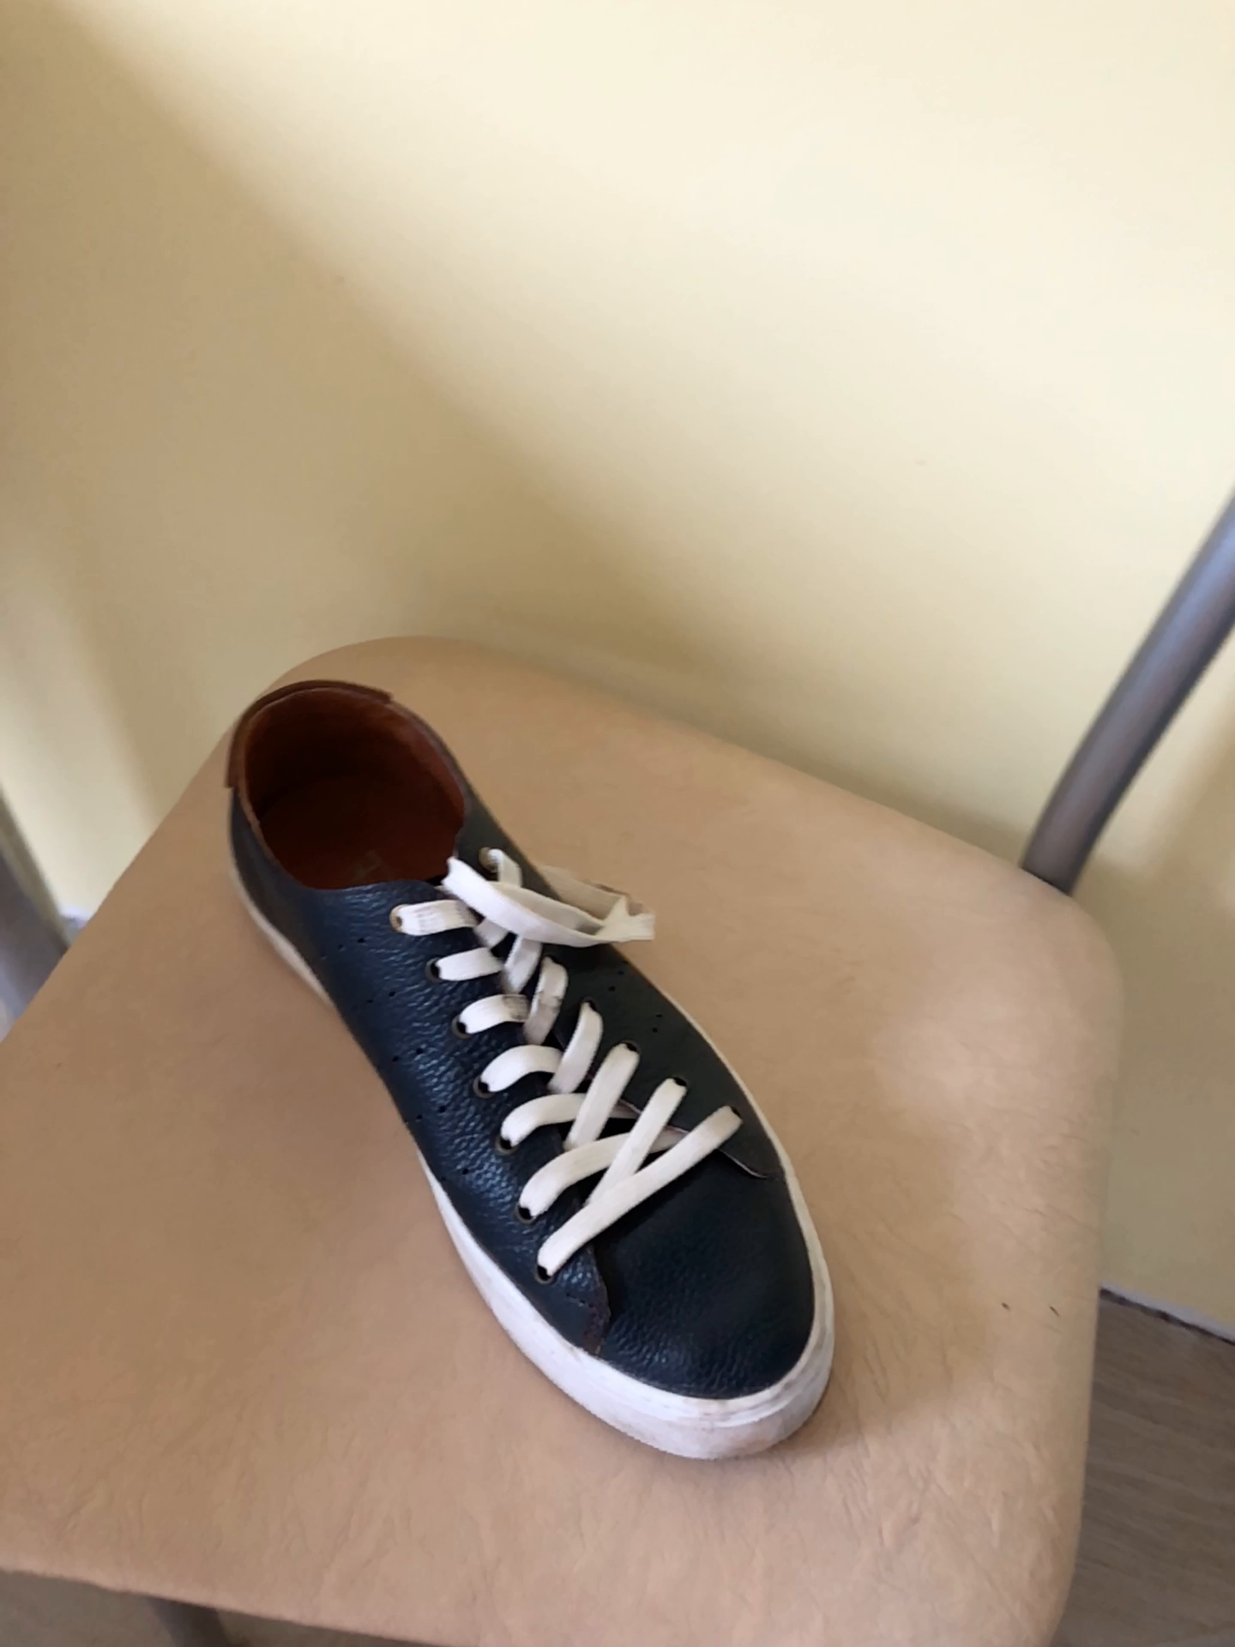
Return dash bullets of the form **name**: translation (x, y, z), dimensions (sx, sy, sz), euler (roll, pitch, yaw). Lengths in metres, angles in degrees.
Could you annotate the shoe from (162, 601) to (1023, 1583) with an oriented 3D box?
- **shoe**: translation (-0.026, 0.062, 0.432), dimensions (0.110, 0.089, 0.291), euler (-27, 54, -23)
